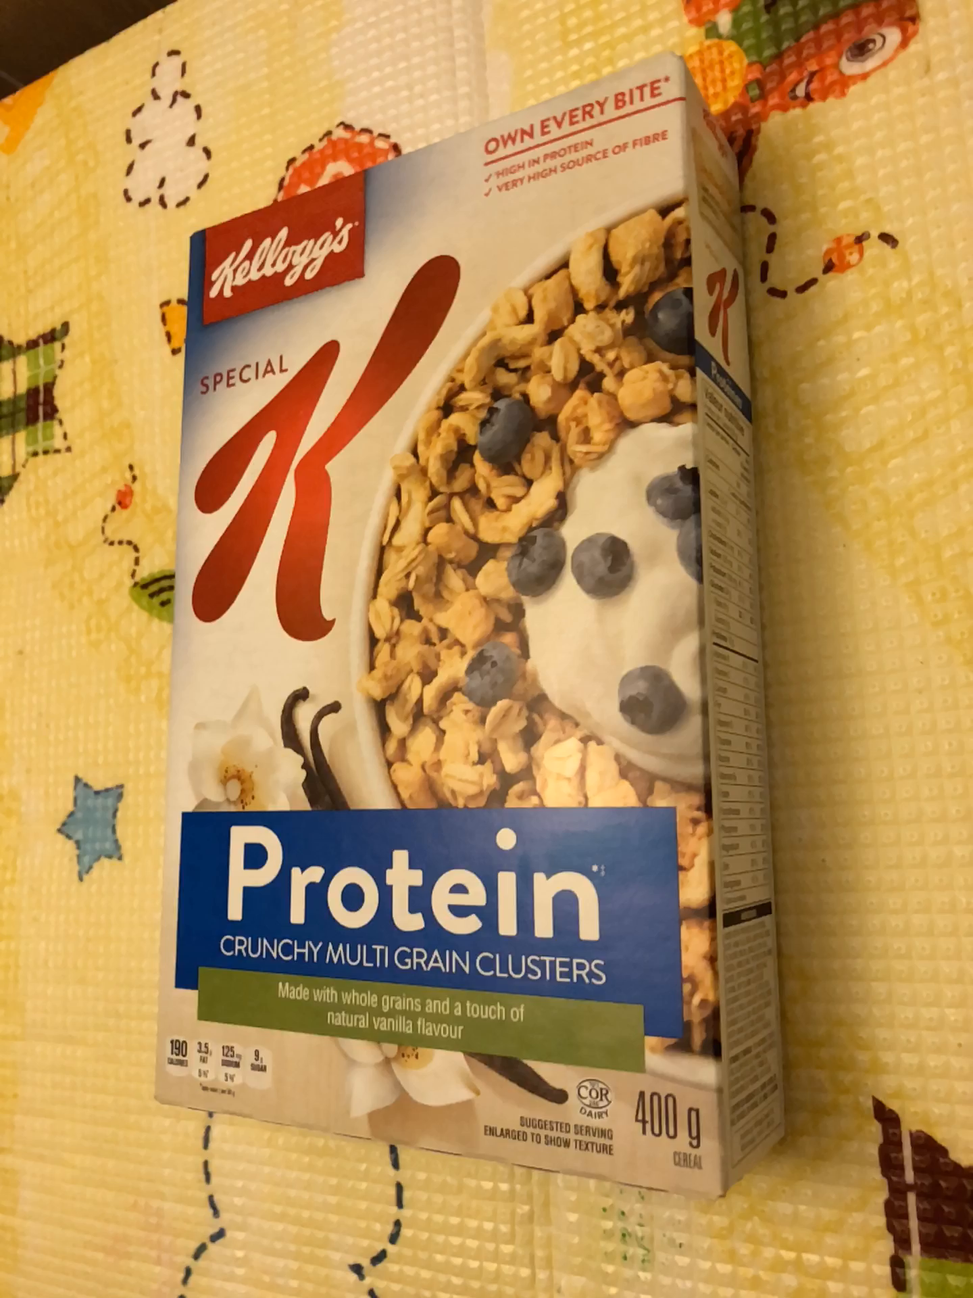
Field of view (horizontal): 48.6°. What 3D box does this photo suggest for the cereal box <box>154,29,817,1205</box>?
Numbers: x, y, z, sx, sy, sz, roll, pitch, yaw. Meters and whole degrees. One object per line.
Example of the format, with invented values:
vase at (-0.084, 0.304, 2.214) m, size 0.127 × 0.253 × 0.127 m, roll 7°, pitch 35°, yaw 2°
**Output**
cereal box at (-0.005, -0.007, 0.290) m, size 0.161 × 0.060 × 0.250 m, roll -4°, pitch 82°, yaw 27°
